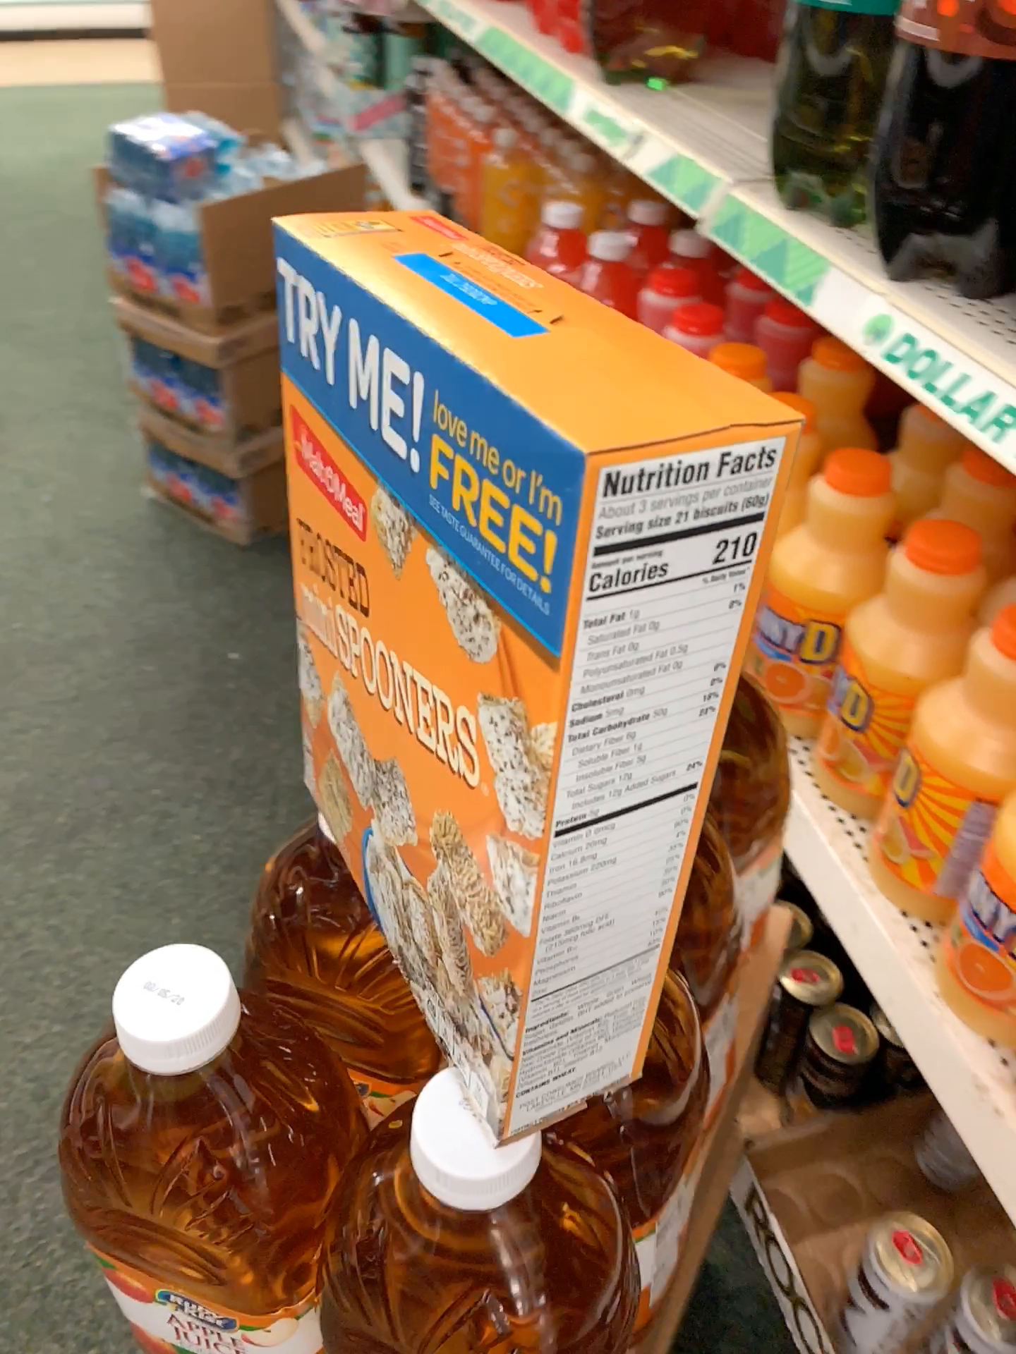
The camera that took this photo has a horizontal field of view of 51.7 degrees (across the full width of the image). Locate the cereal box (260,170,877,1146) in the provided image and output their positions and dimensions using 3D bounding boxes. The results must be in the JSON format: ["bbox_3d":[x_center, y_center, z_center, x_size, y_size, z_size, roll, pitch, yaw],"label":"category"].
[{"bbox_3d":[-0.011,-0.007,0.305,0.060,0.219,0.171,-15,42,-27],"label":"cereal box"}]
